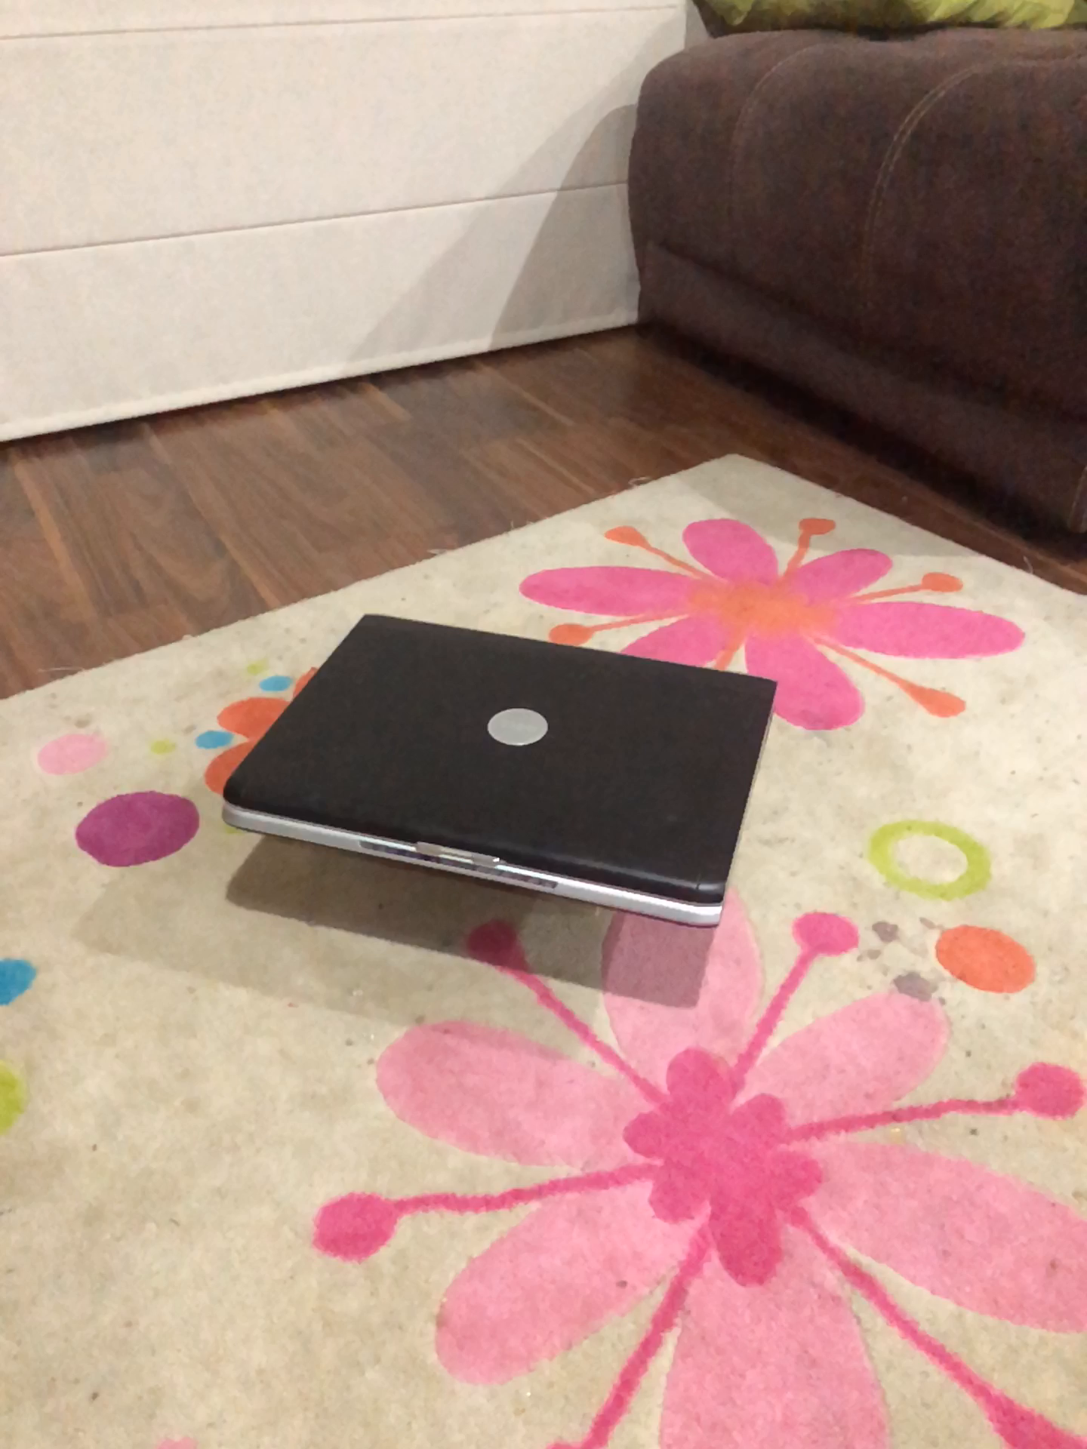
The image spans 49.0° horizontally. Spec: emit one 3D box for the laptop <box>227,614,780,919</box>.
[{"bbox_3d":[-0.022,0.014,0.879,0.353,0.015,0.233,10,41,17],"label":"laptop"}]
